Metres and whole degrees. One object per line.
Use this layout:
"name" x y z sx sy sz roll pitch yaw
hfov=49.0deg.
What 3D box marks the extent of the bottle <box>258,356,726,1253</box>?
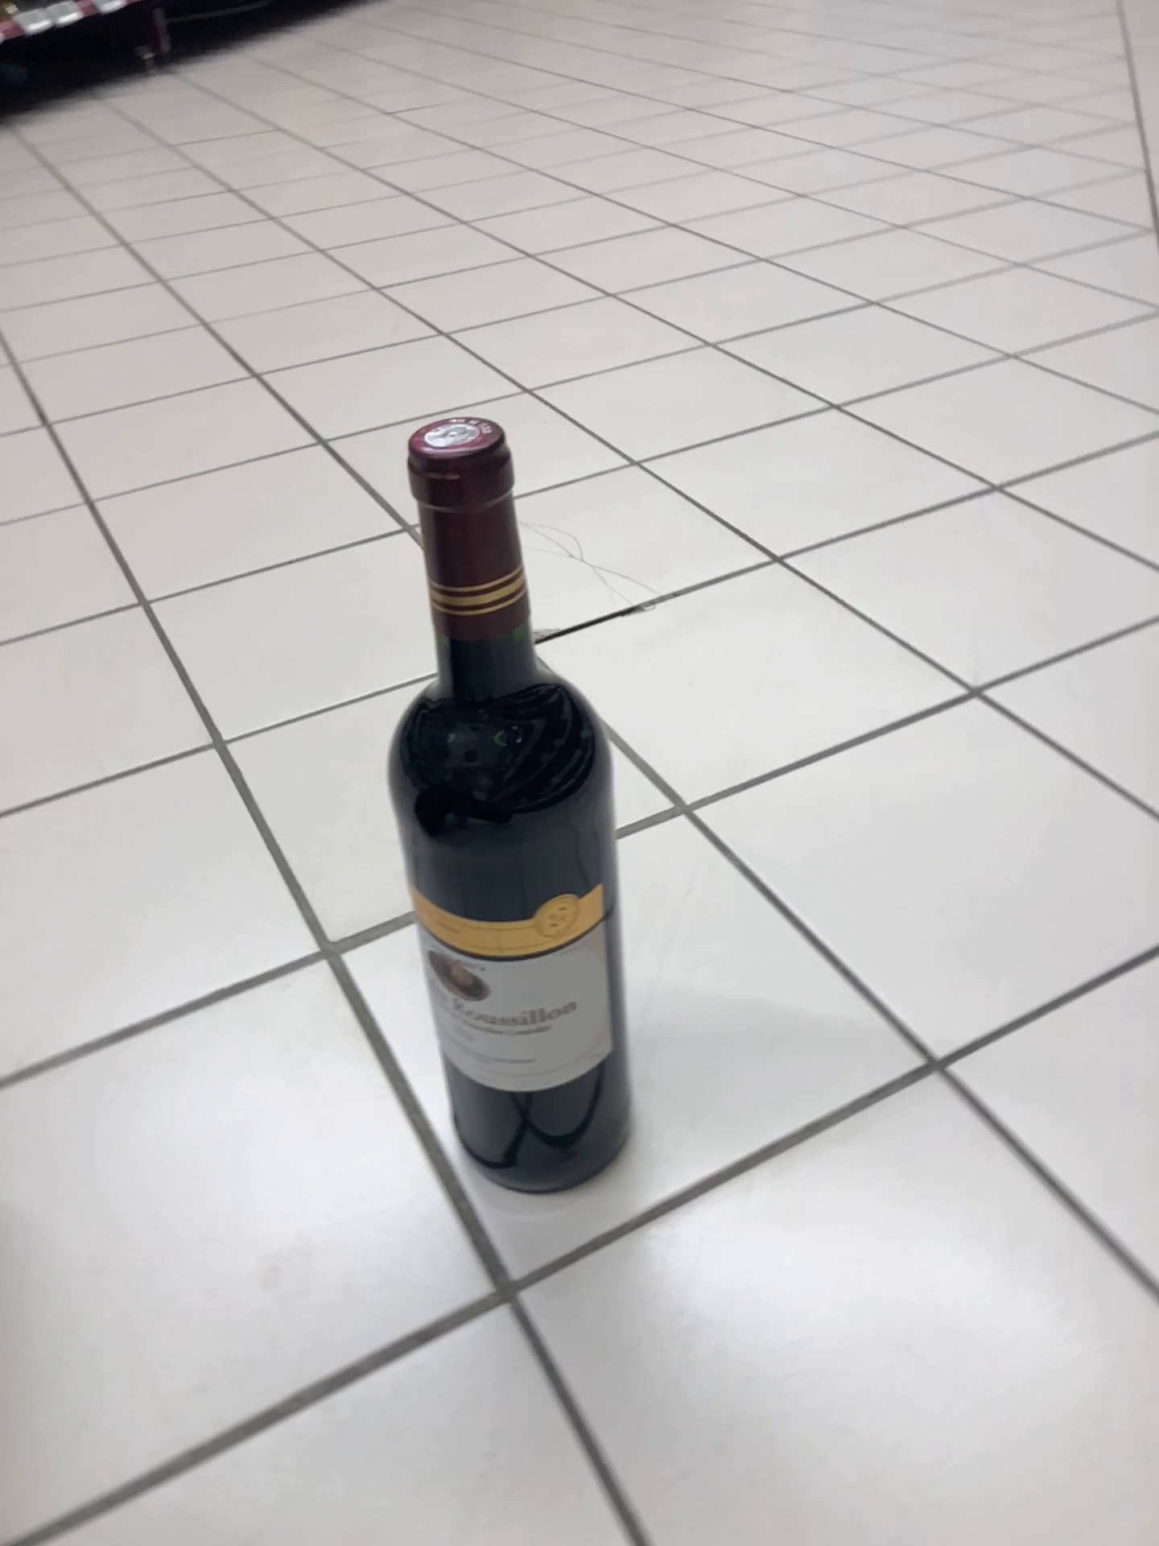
"bottle" -0.015 0.023 0.433 0.090 0.288 0.090 -3 37 2
